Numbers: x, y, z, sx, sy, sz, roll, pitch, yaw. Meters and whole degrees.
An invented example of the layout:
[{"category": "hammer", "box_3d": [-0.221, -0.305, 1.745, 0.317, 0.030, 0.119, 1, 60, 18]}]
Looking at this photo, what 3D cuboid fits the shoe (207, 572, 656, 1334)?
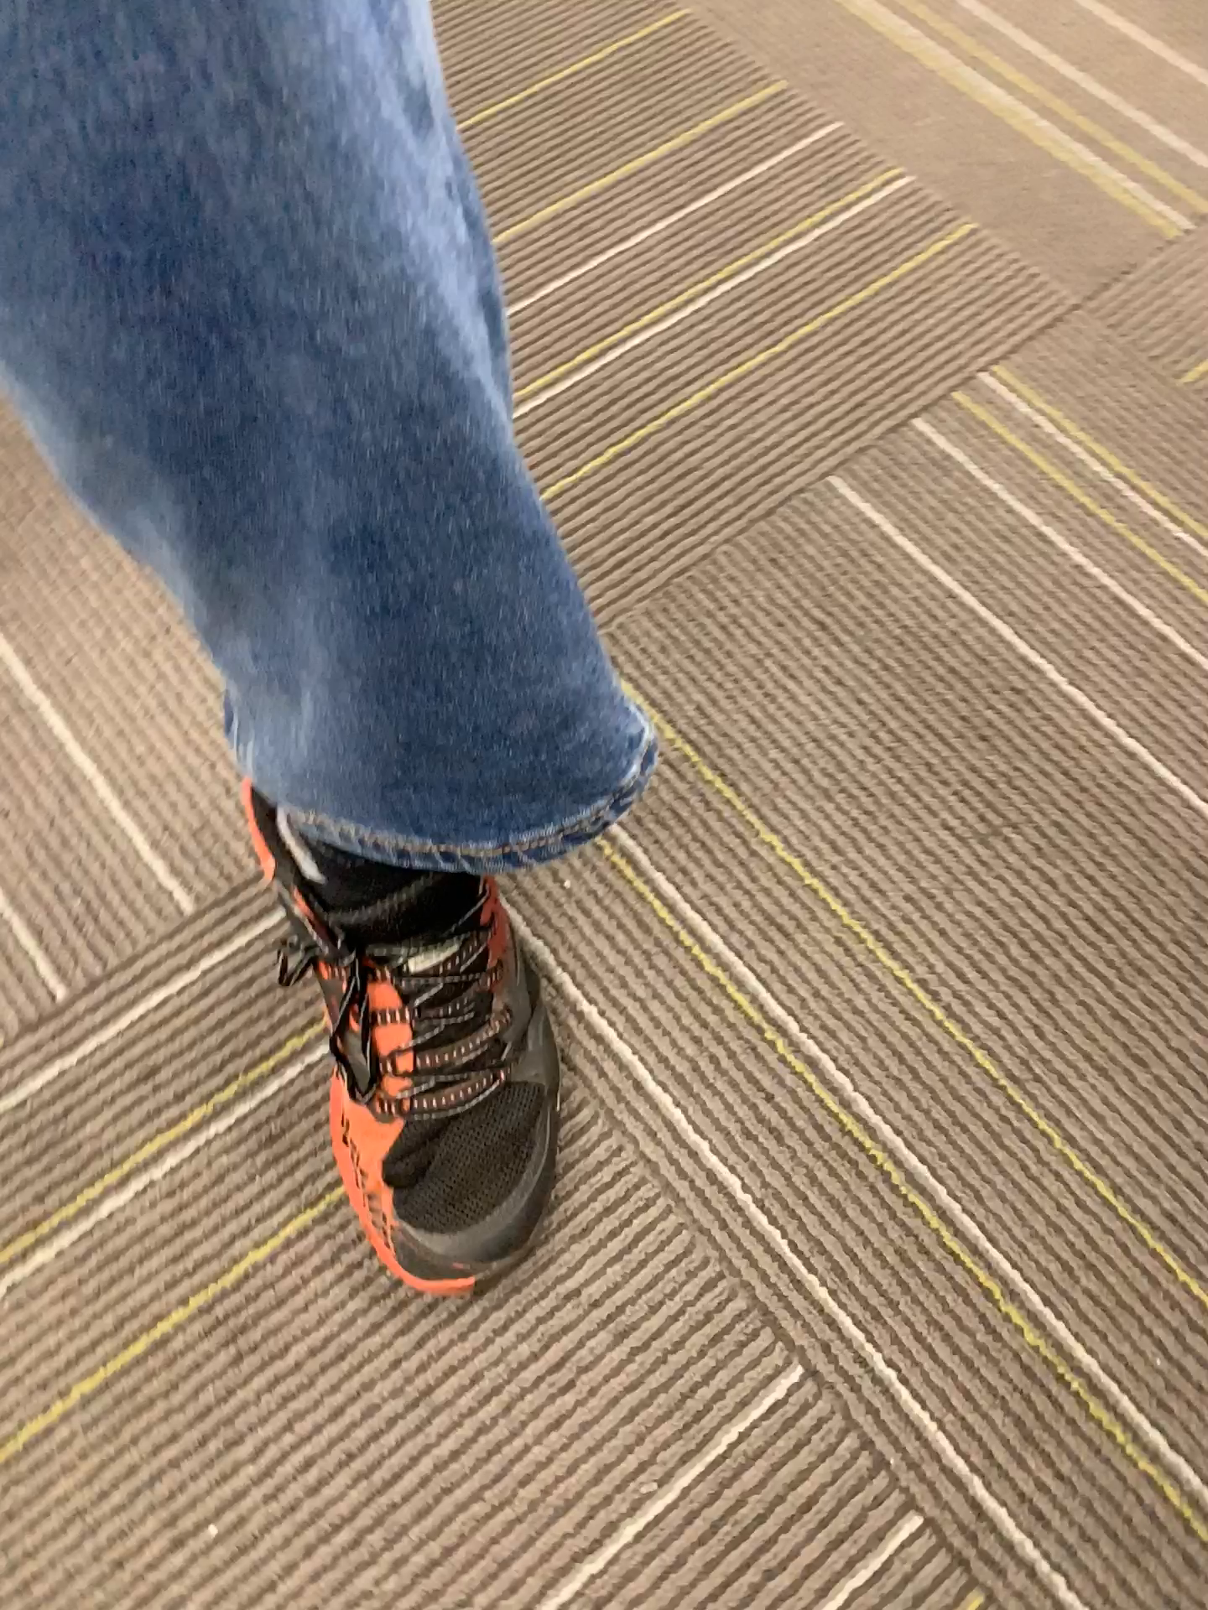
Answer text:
[{"category": "shoe", "box_3d": [-0.086, 0.063, 0.600, 0.126, 0.107, 0.314, -14, 92, -15]}]
